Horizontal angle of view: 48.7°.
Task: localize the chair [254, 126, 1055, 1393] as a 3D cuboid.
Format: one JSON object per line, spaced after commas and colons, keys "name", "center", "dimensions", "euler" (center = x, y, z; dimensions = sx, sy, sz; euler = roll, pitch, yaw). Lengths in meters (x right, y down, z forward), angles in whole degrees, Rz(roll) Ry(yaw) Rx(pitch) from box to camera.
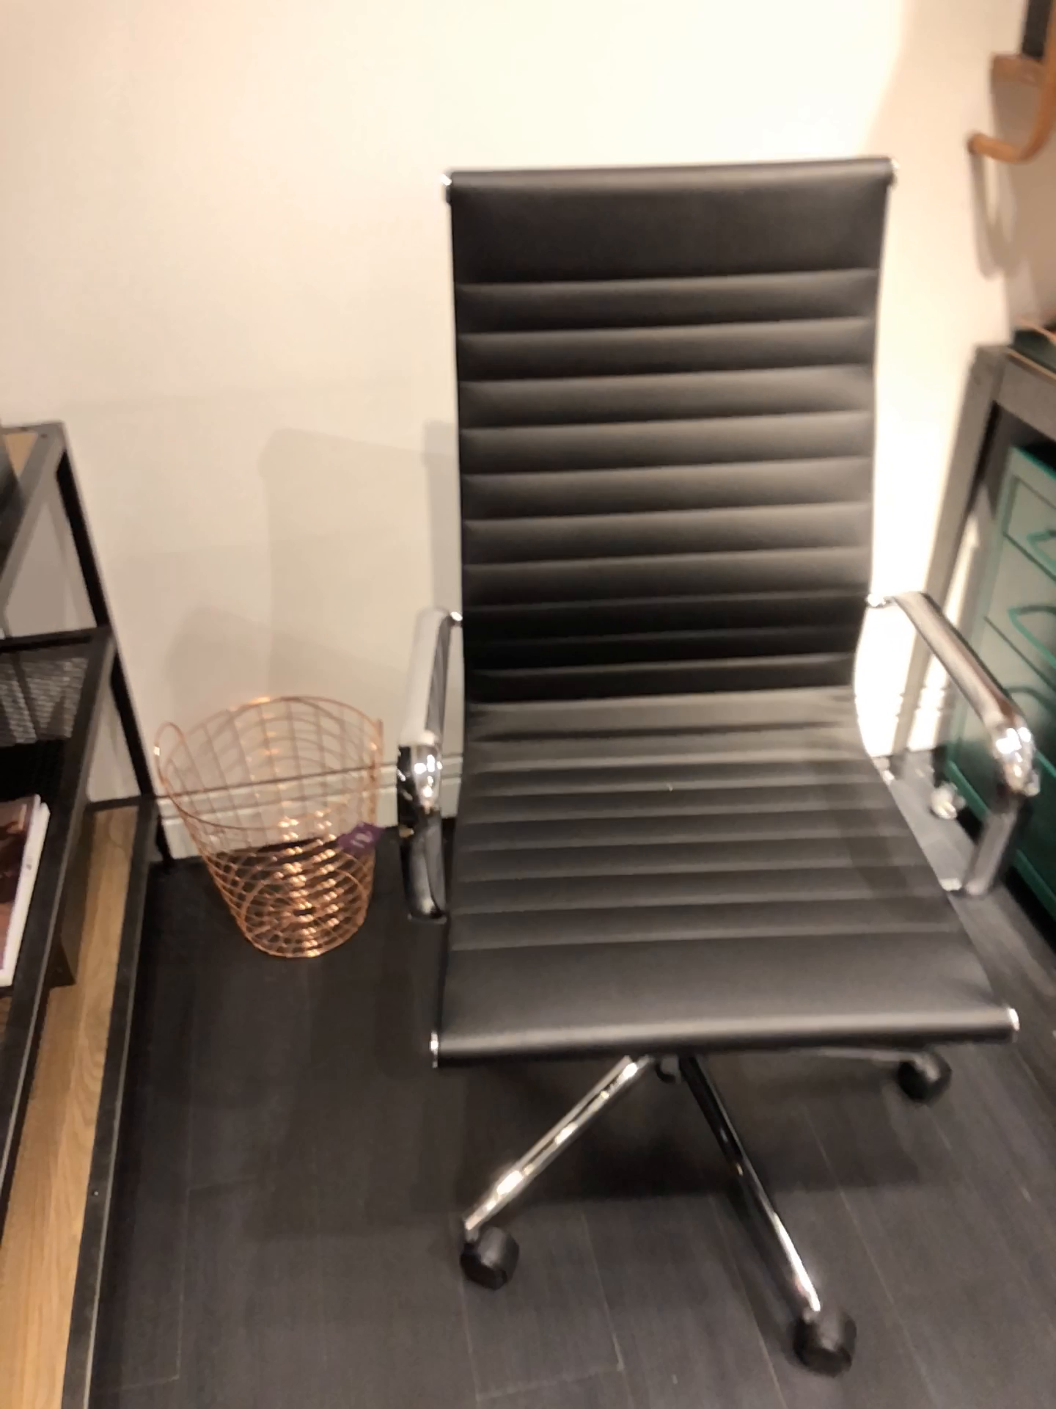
{"name": "chair", "center": [0.201, 0.063, 1.176], "dimensions": [0.680, 1.052, 0.665], "euler": [-3, 34, -1]}
